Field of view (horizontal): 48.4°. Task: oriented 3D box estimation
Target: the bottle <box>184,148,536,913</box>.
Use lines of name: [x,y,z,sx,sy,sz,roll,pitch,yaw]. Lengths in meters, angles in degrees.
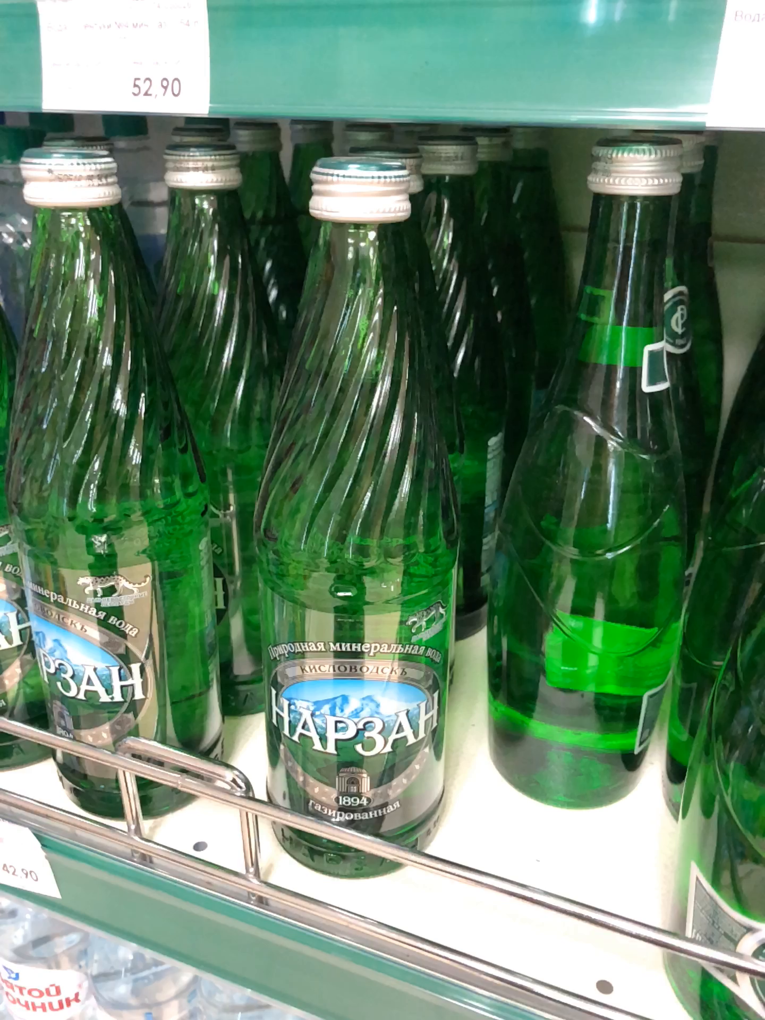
bottle: [-0.004,0.013,0.281,0.080,0.240,0.060,9,26,16]
